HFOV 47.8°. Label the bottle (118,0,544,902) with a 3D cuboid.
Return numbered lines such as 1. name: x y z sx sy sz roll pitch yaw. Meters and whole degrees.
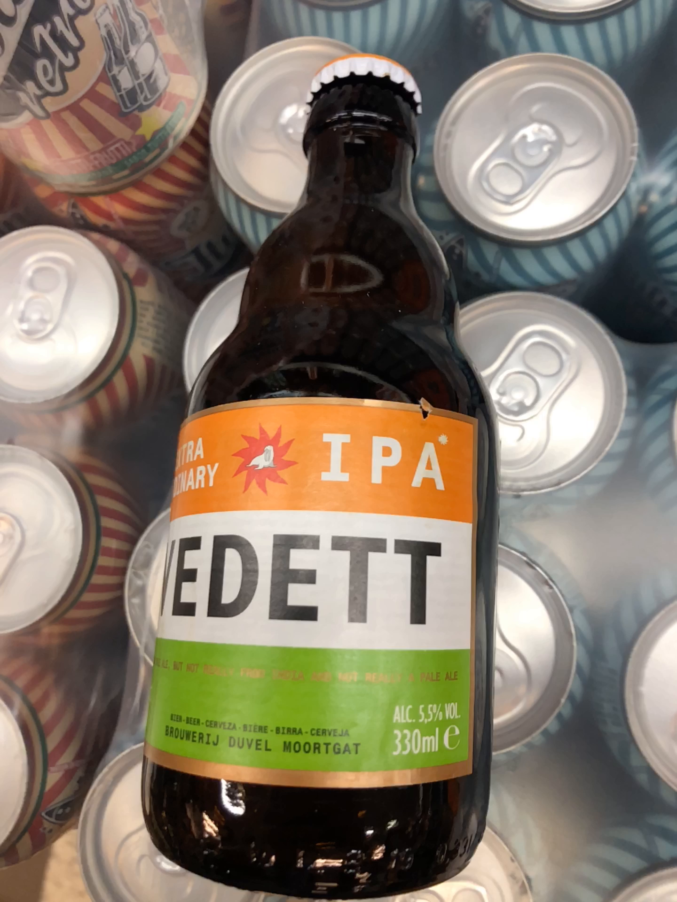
1. bottle: 0.006 -0.014 0.167 0.070 0.060 0.190 1 82 11
